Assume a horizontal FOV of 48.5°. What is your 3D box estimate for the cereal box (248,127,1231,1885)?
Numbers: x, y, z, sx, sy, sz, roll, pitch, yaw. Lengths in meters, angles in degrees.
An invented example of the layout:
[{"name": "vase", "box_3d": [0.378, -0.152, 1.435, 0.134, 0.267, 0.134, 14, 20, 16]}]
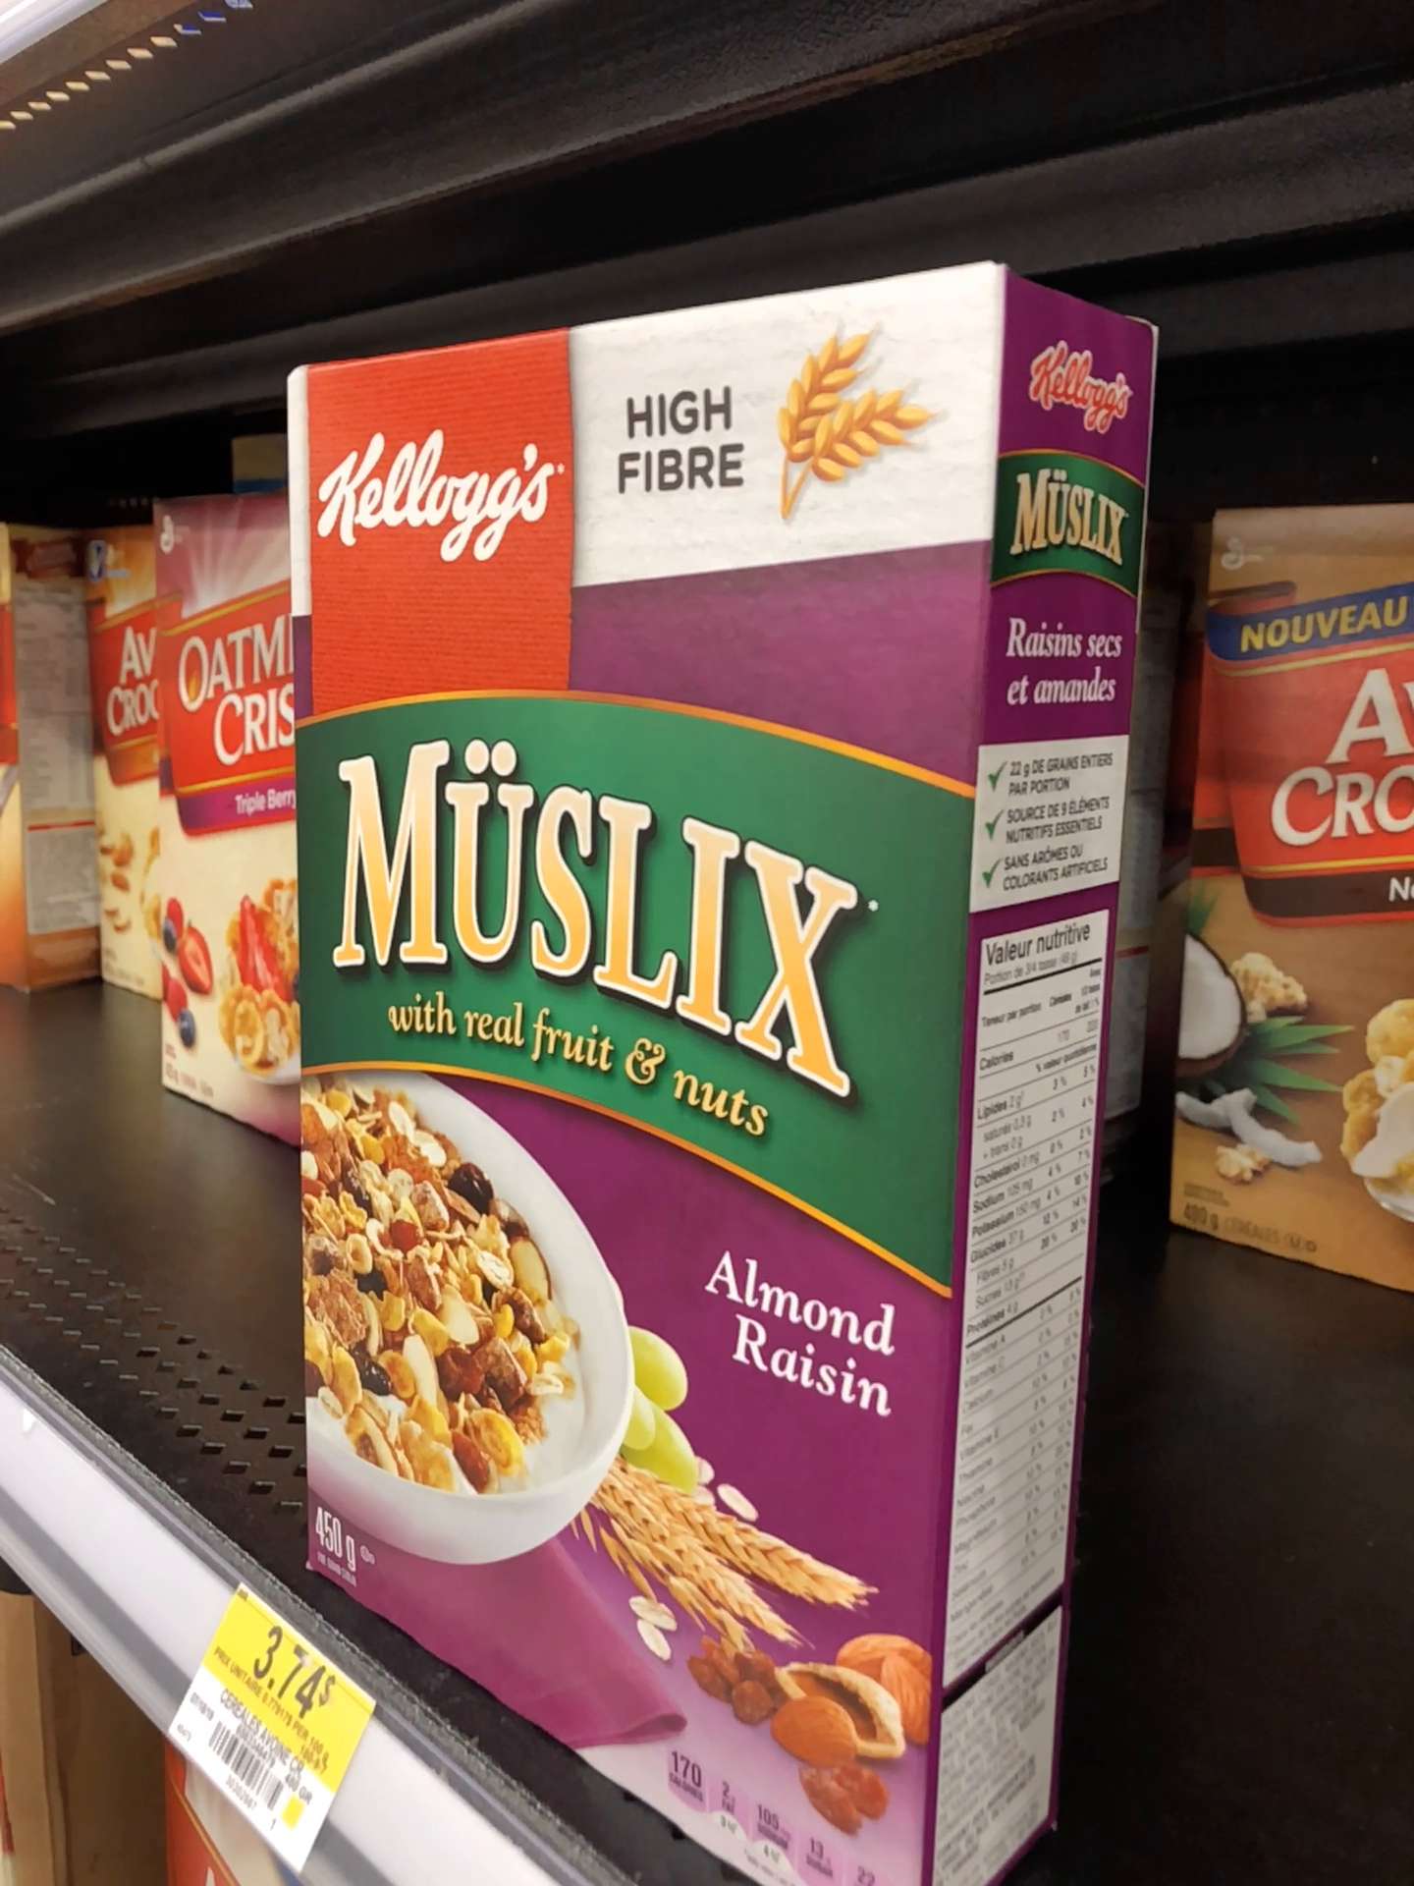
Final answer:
[{"name": "cereal box", "box_3d": [-0.008, 0.013, 0.289, 0.170, 0.259, 0.060, 11, 14, 42]}]
